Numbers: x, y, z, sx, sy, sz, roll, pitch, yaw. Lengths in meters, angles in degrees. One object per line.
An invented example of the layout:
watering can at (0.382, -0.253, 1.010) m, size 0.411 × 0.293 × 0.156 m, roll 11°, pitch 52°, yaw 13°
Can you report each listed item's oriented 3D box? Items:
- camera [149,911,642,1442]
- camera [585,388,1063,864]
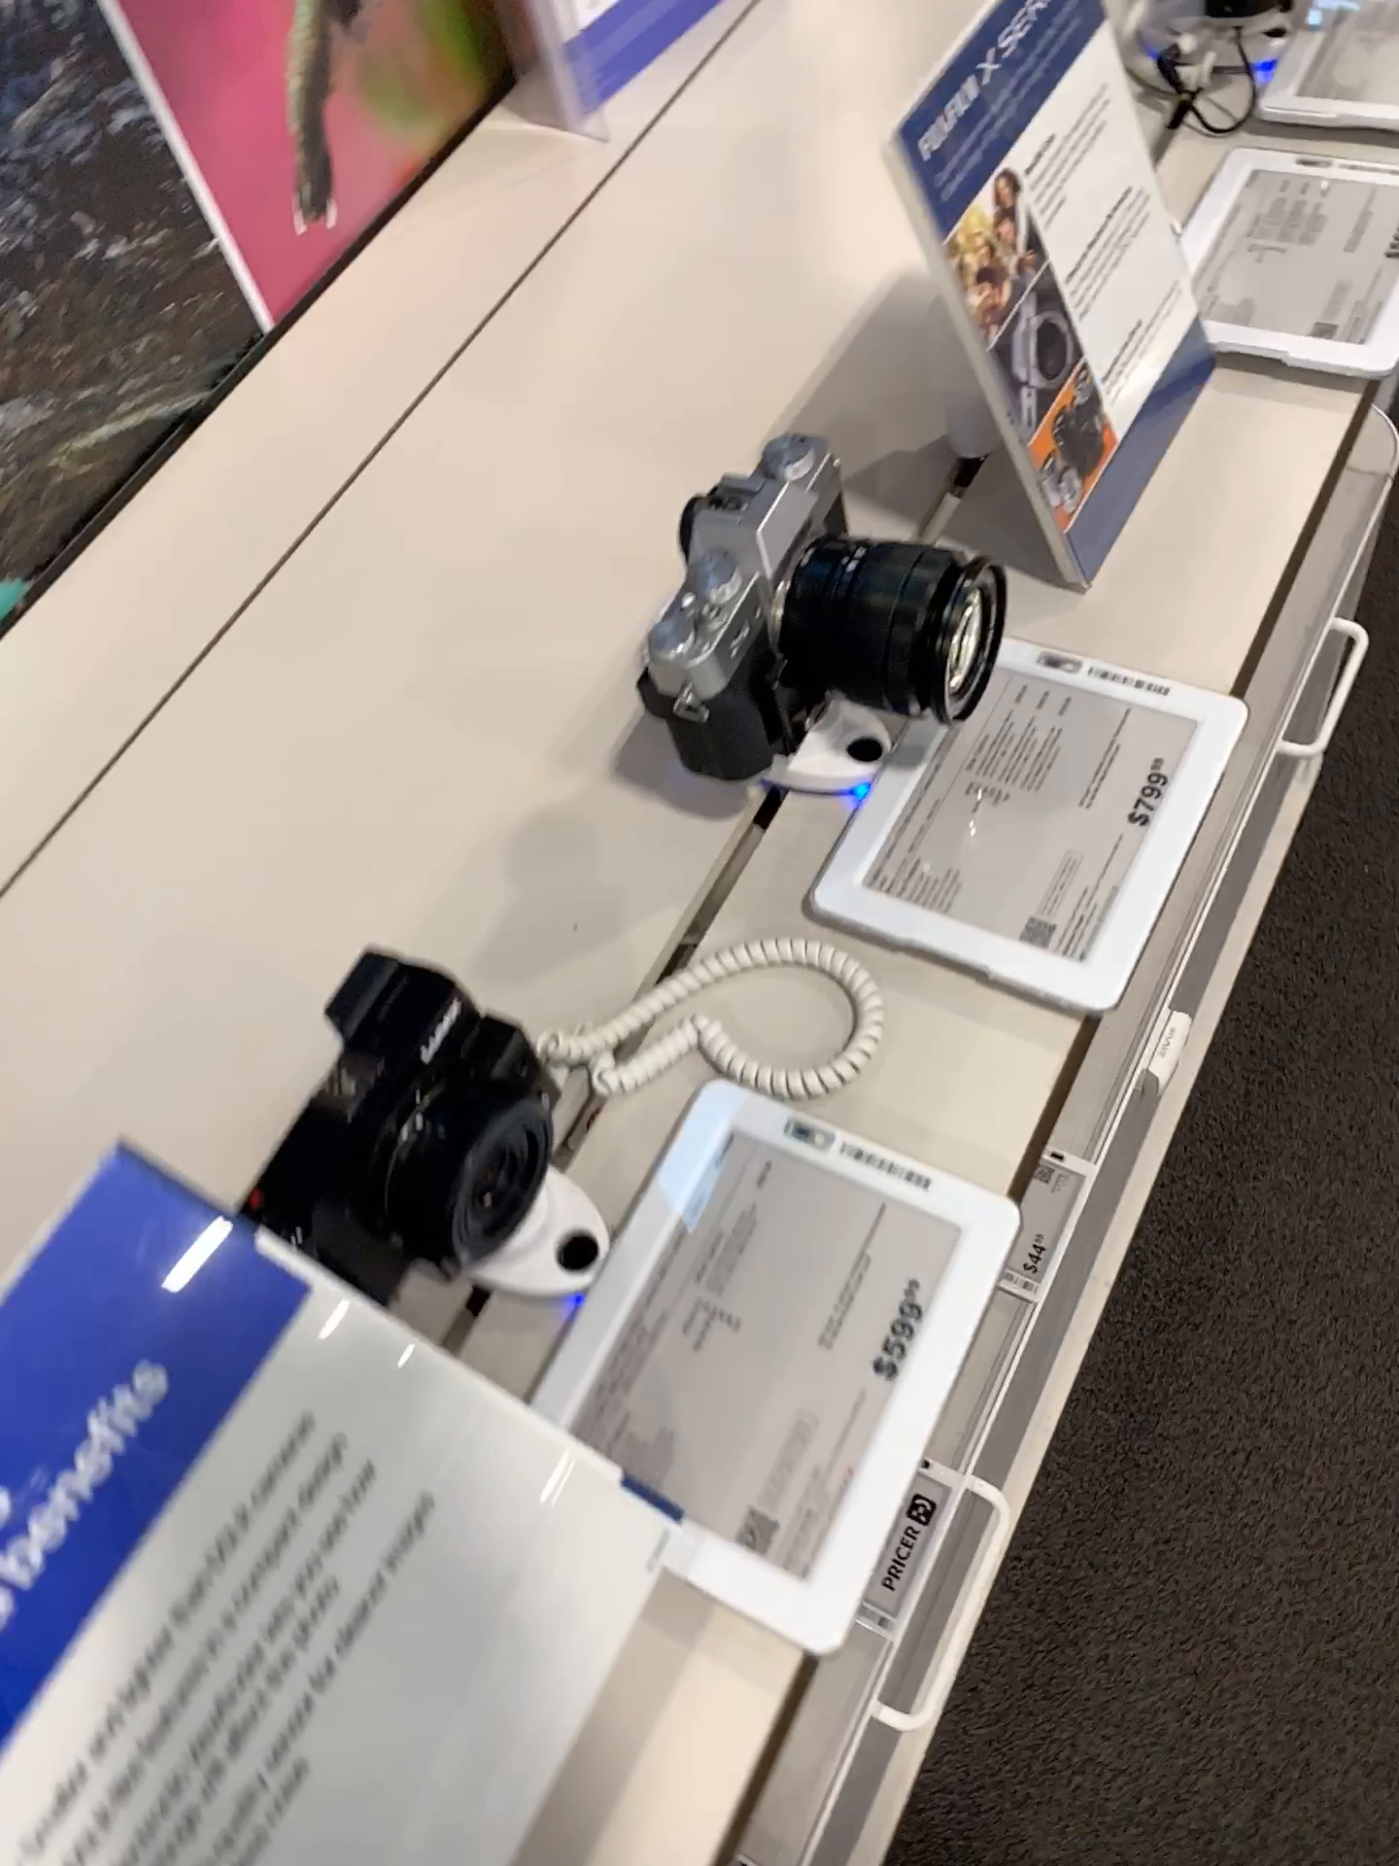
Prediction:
camera at (-0.084, 0.073, 0.430) m, size 0.070 × 0.080 × 0.120 m, roll 20°, pitch 65°, yaw 22°
camera at (0.048, -0.111, 0.508) m, size 0.120 × 0.080 × 0.120 m, roll 20°, pitch 65°, yaw 22°
